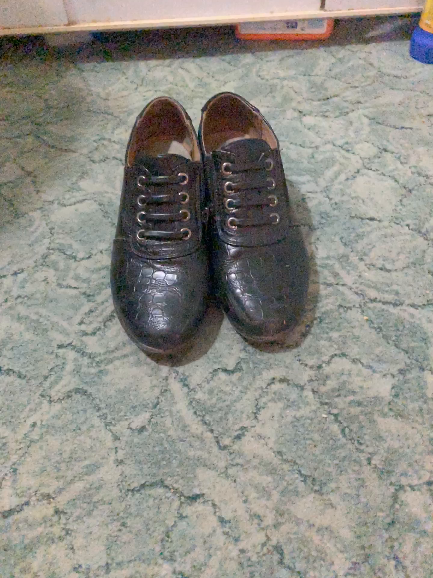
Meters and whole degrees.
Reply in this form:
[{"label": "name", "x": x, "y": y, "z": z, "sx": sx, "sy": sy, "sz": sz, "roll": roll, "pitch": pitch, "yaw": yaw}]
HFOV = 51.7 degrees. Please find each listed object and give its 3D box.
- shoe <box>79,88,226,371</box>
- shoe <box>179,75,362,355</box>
[{"label": "shoe", "x": -0.050, "y": -0.060, "z": 0.392, "sx": 0.090, "sy": 0.119, "sz": 0.221, "roll": -6, "pitch": 51, "yaw": -3}, {"label": "shoe", "x": 0.030, "y": -0.071, "z": 0.386, "sx": 0.090, "sy": 0.119, "sz": 0.211, "roll": -8, "pitch": 51, "yaw": -5}]
